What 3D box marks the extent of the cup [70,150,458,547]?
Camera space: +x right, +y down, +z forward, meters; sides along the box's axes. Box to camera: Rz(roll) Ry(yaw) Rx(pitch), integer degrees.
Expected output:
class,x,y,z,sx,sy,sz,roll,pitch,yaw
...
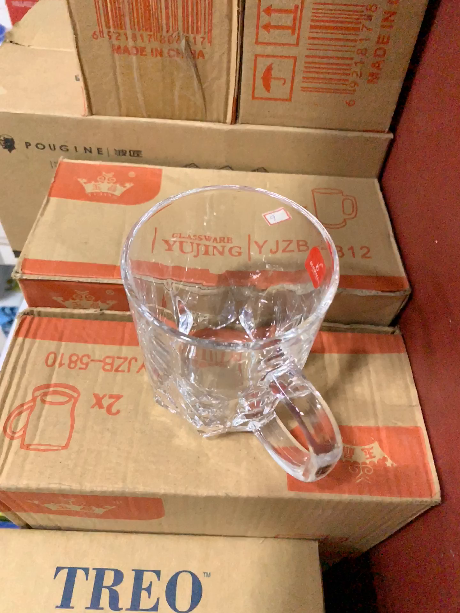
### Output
class,x,y,z,sx,sy,sz,roll,pitch,yaw
cup,0.004,0.010,0.171,0.069,0.071,0.100,-28,58,-23
